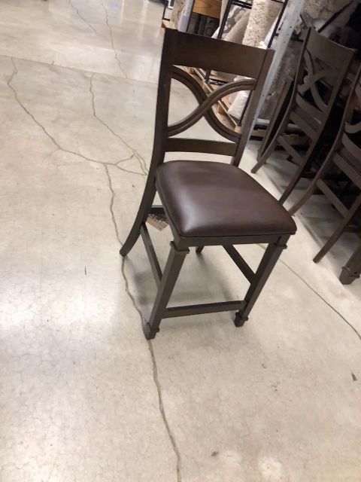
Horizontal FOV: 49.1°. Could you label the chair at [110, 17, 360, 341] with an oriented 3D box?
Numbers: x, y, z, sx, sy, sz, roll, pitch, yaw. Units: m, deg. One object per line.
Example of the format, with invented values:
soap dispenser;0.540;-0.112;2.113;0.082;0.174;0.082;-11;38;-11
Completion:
chair;0.101;-0.205;1.607;0.491;1.027;0.651;-2;42;-25
